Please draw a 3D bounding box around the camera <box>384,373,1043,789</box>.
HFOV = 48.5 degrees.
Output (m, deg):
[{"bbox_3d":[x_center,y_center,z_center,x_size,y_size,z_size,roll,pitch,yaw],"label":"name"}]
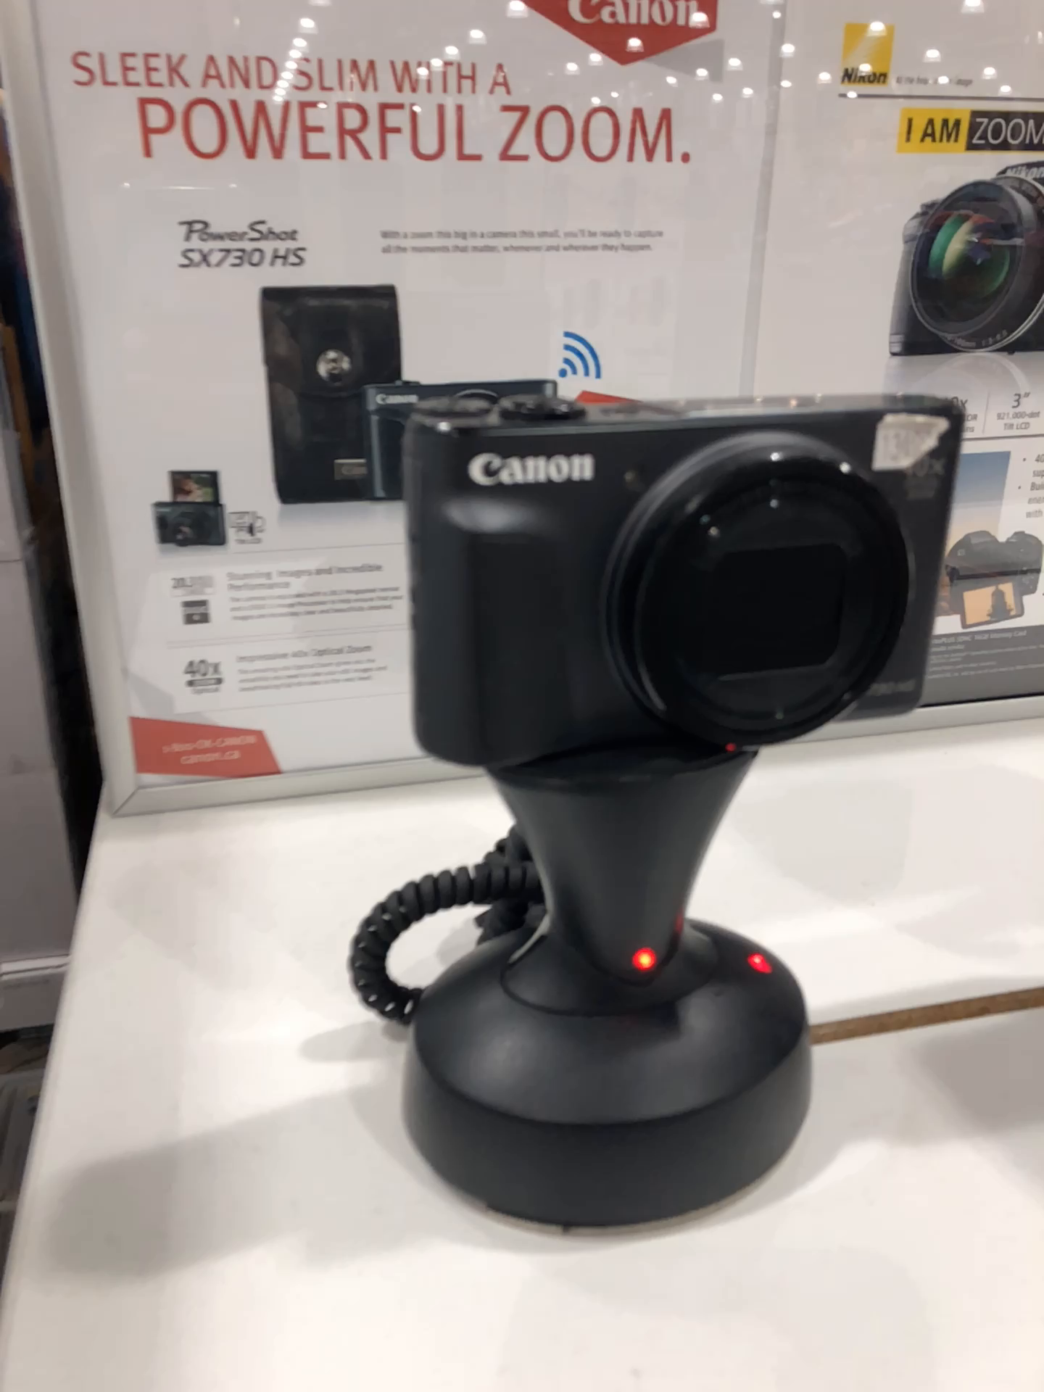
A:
[{"bbox_3d":[0.033,-0.025,0.217,0.110,0.060,0.040,-6,23,-15],"label":"camera"}]
